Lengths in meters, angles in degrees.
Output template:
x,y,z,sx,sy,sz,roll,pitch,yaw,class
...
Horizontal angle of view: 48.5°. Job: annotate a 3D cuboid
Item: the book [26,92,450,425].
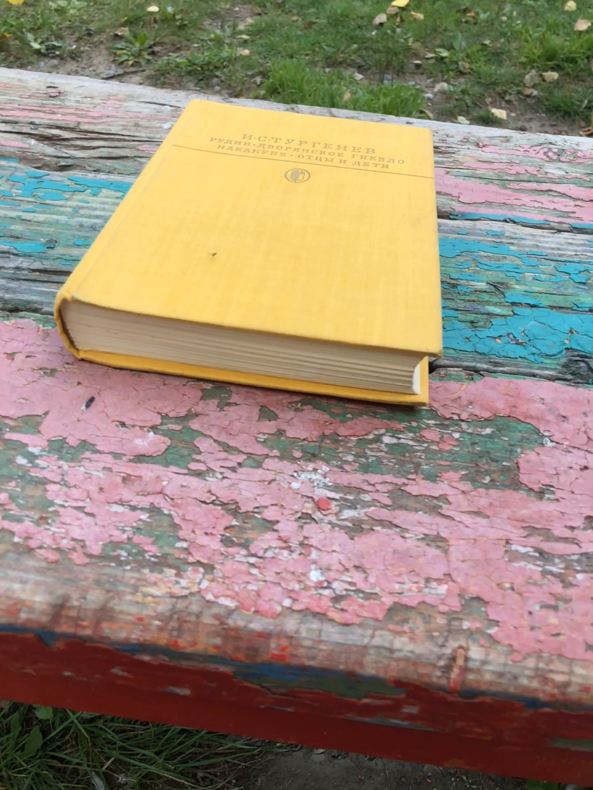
x,y,z,sx,sy,sz,roll,pitch,yaw,class
-0.008,-0.085,0.322,0.153,0.032,0.218,8,44,3,book
